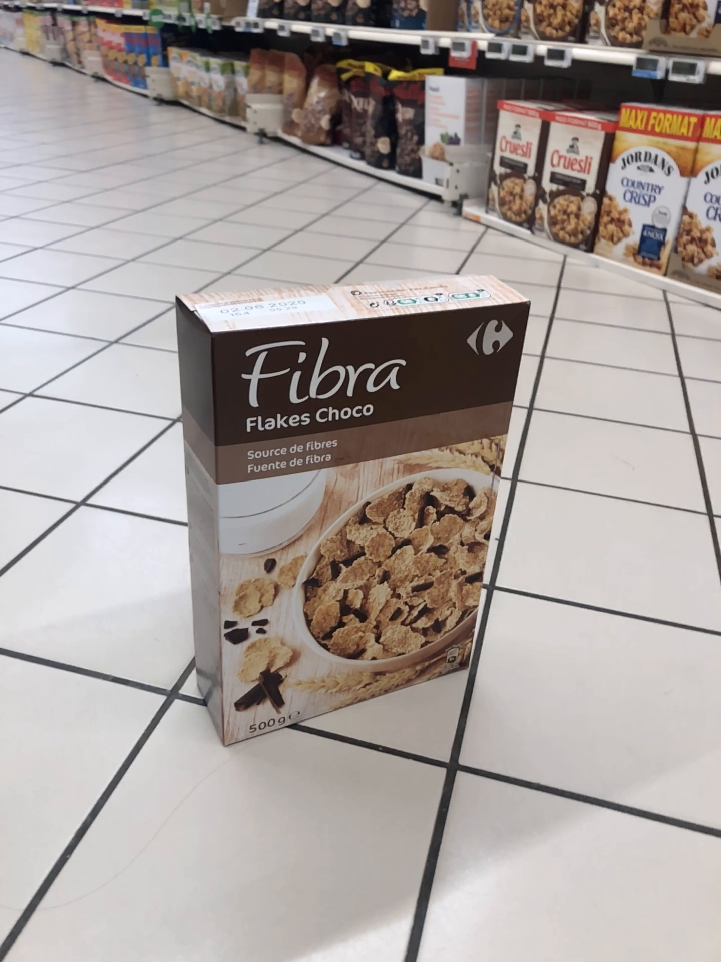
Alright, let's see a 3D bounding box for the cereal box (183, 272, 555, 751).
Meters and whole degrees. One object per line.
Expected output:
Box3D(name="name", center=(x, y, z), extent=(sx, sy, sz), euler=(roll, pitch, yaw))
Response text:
Box3D(name="cereal box", center=(0.000, 0.020, 0.516), extent=(0.201, 0.278, 0.070), euler=(-12, 33, -25))
